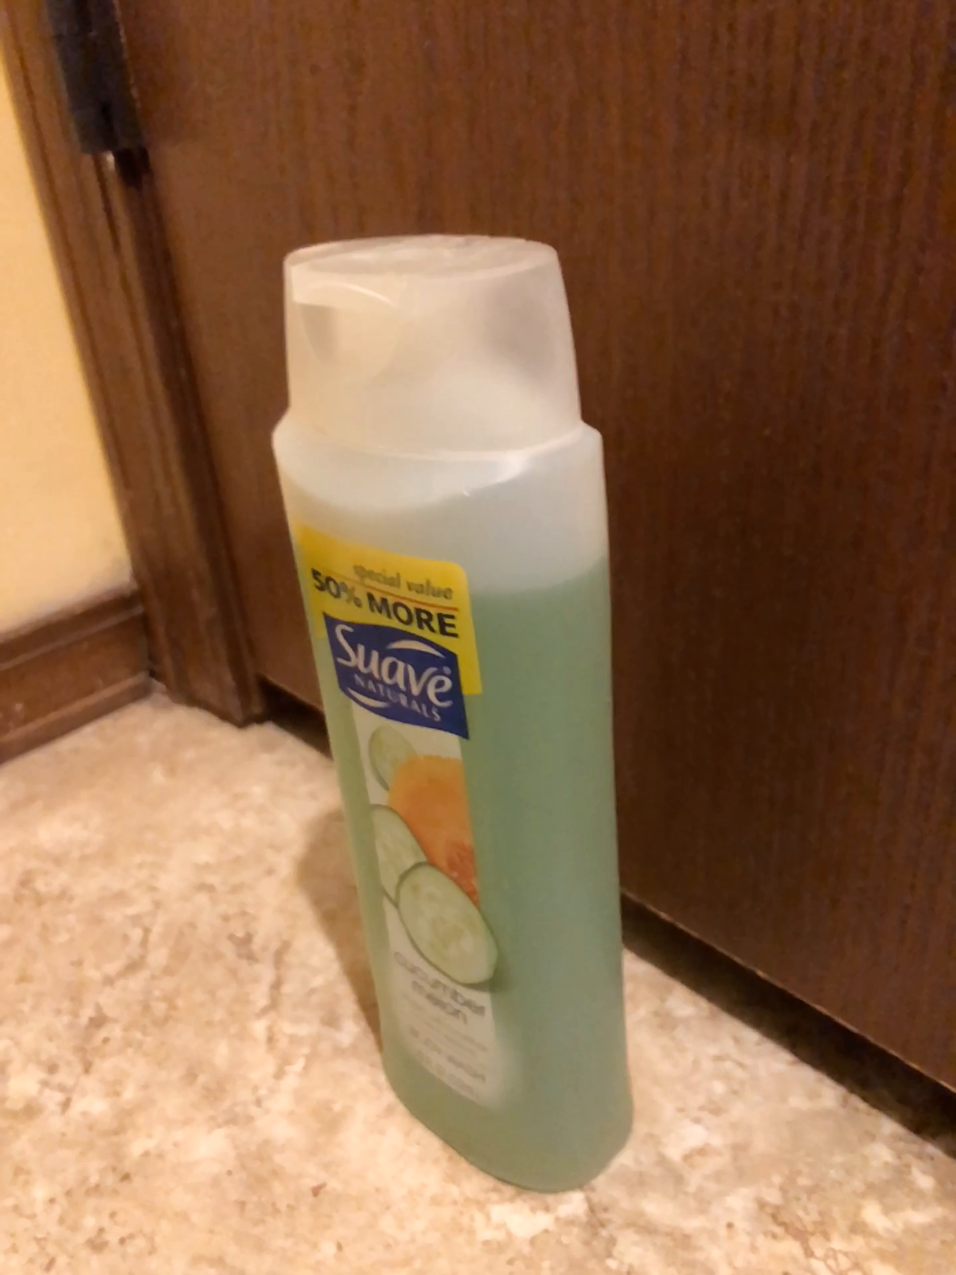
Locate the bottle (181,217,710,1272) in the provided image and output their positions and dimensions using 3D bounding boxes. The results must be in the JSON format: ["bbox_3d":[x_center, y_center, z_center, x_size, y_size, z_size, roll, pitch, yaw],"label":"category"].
[{"bbox_3d":[0.002,0.031,0.258,0.090,0.239,0.050,18,36,39],"label":"bottle"}]
